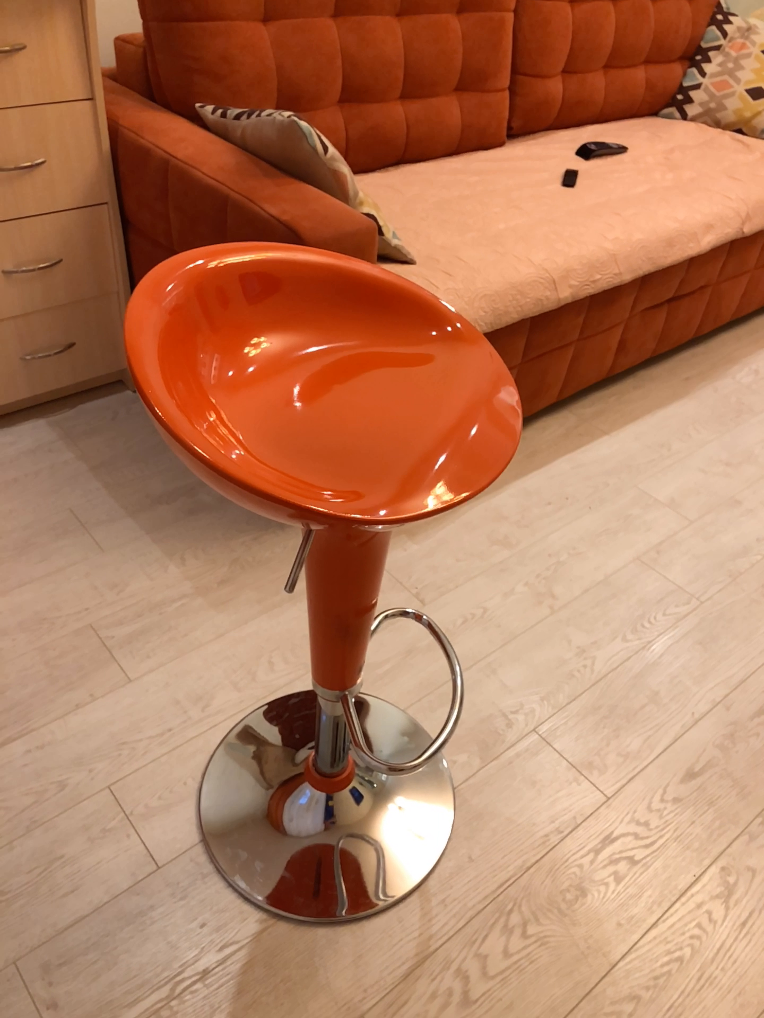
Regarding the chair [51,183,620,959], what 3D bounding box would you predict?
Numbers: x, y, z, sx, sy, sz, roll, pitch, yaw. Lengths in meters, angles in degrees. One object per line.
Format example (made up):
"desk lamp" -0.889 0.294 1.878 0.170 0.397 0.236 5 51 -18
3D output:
"chair" -0.026 0.096 0.943 0.390 0.734 0.403 10 39 6
